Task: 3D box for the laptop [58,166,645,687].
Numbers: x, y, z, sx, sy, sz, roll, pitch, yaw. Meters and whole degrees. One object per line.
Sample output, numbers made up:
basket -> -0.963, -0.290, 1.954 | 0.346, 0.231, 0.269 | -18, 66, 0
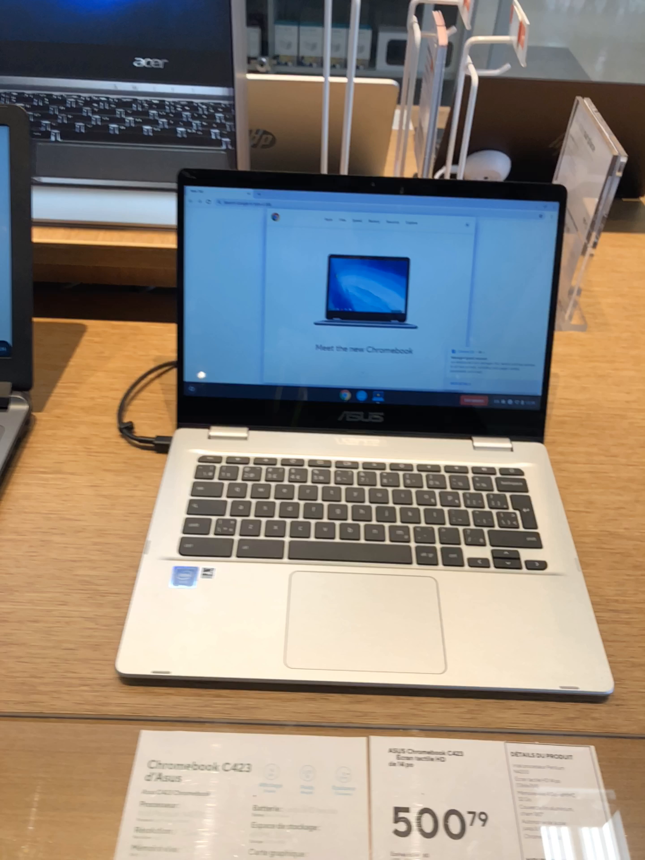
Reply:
laptop -> 0.014, -0.022, 0.509 | 0.281, 0.186, 0.337 | 2, 42, -4
